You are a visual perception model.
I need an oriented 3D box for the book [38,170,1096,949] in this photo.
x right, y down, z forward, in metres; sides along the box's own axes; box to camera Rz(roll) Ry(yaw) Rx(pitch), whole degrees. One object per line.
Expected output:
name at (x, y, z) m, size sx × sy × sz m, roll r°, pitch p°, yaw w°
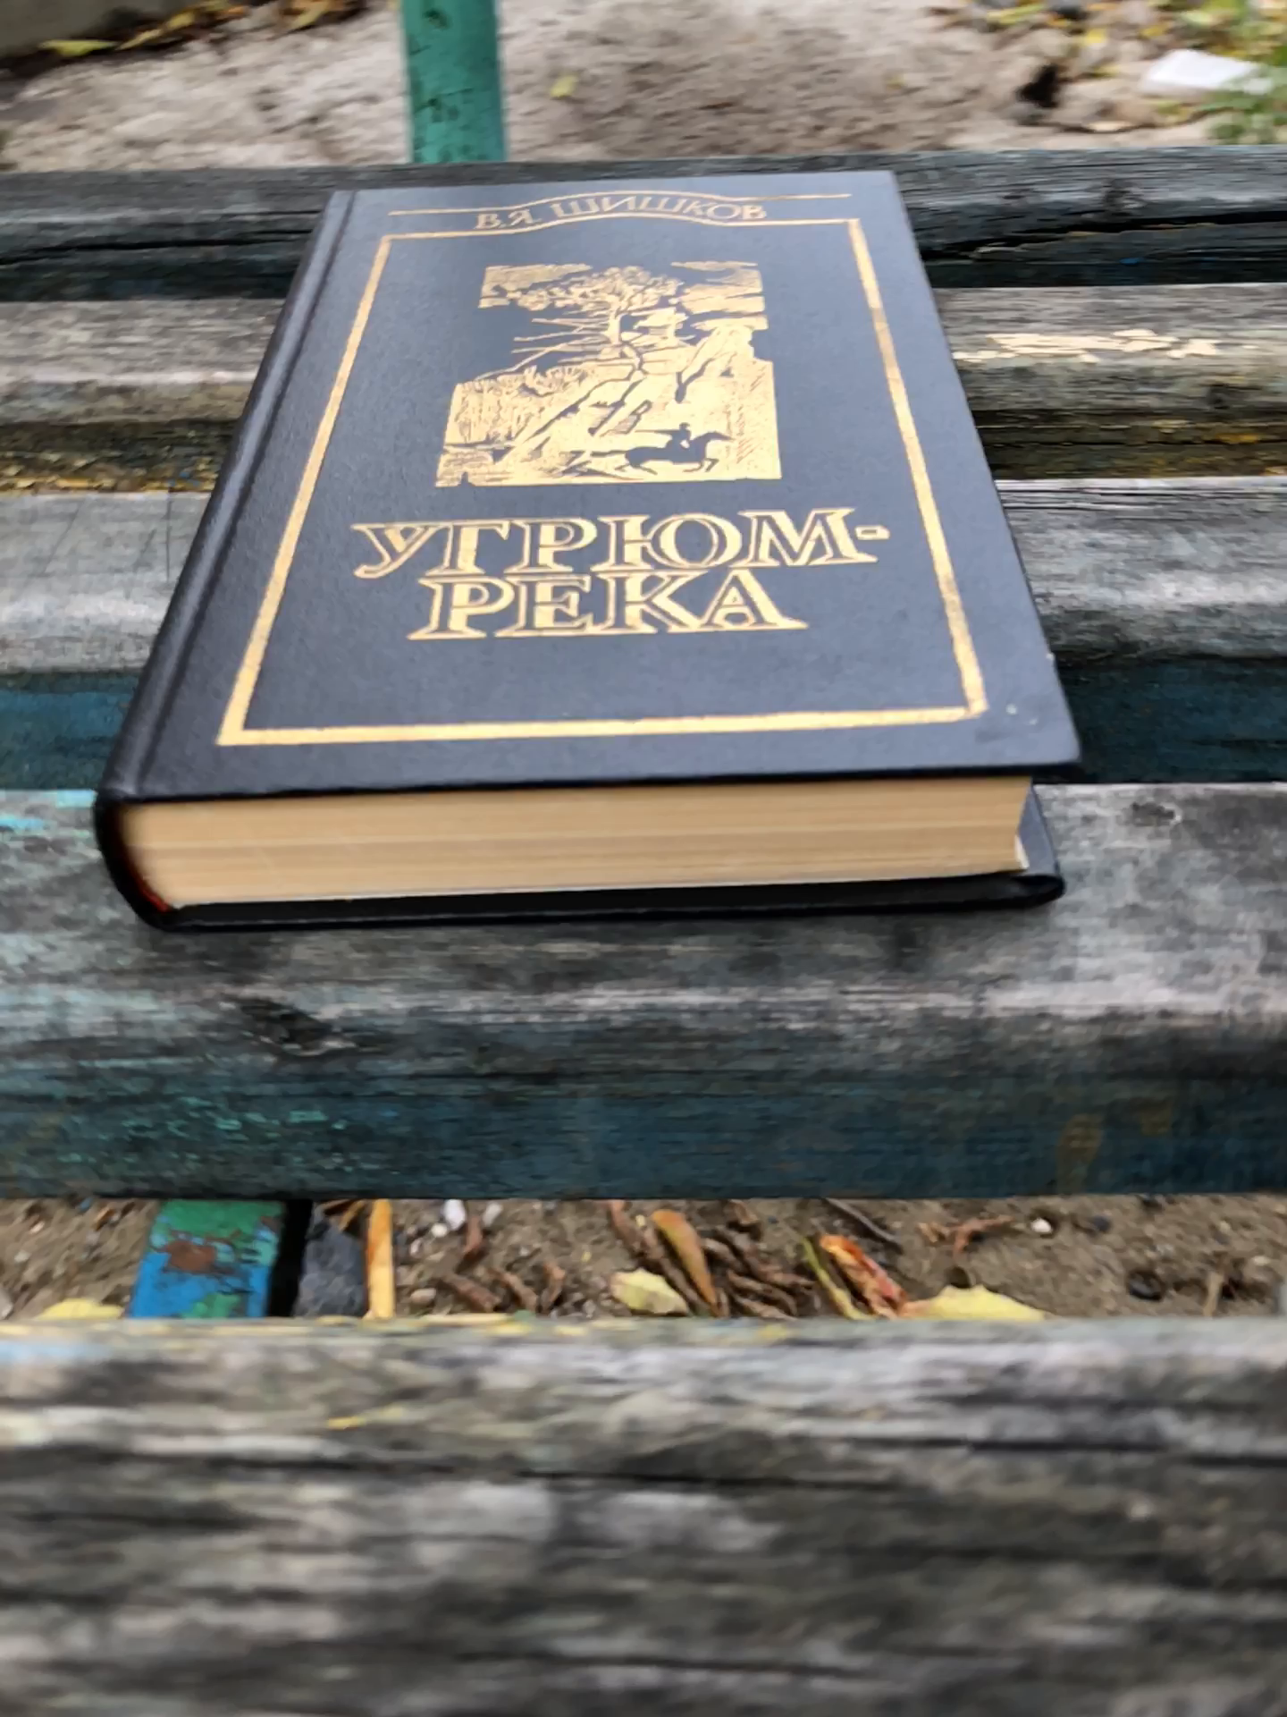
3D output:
book at (-0.010, -0.074, 0.270) m, size 0.137 × 0.030 × 0.211 m, roll -1°, pitch 45°, yaw 1°
